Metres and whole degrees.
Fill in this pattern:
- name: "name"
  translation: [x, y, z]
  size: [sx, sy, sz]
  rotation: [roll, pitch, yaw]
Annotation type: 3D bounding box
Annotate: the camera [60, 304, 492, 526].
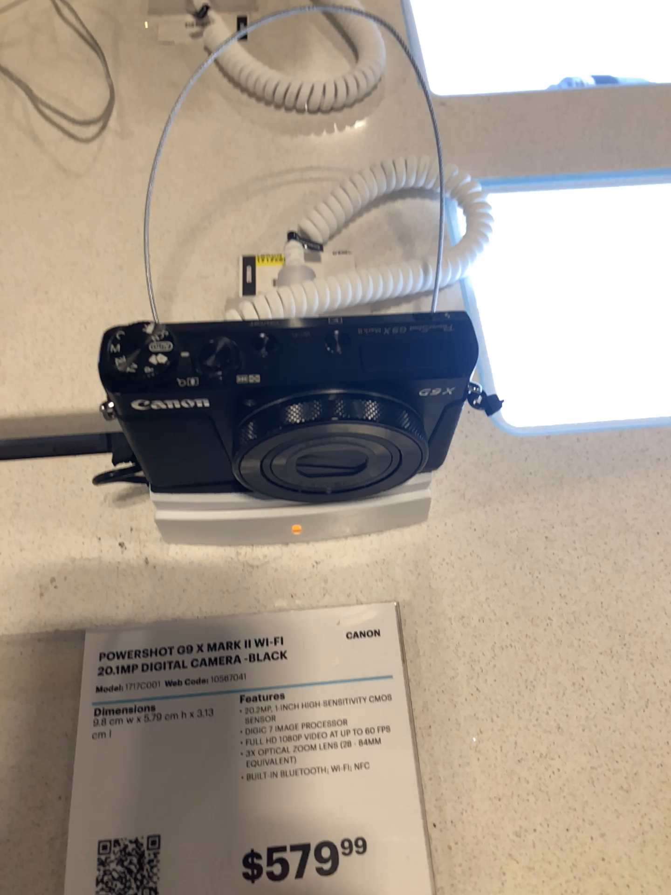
- name: "camera"
  translation: [-0.014, -0.006, 0.206]
  size: [0.100, 0.060, 0.030]
  rotation: [-3, 61, -1]
